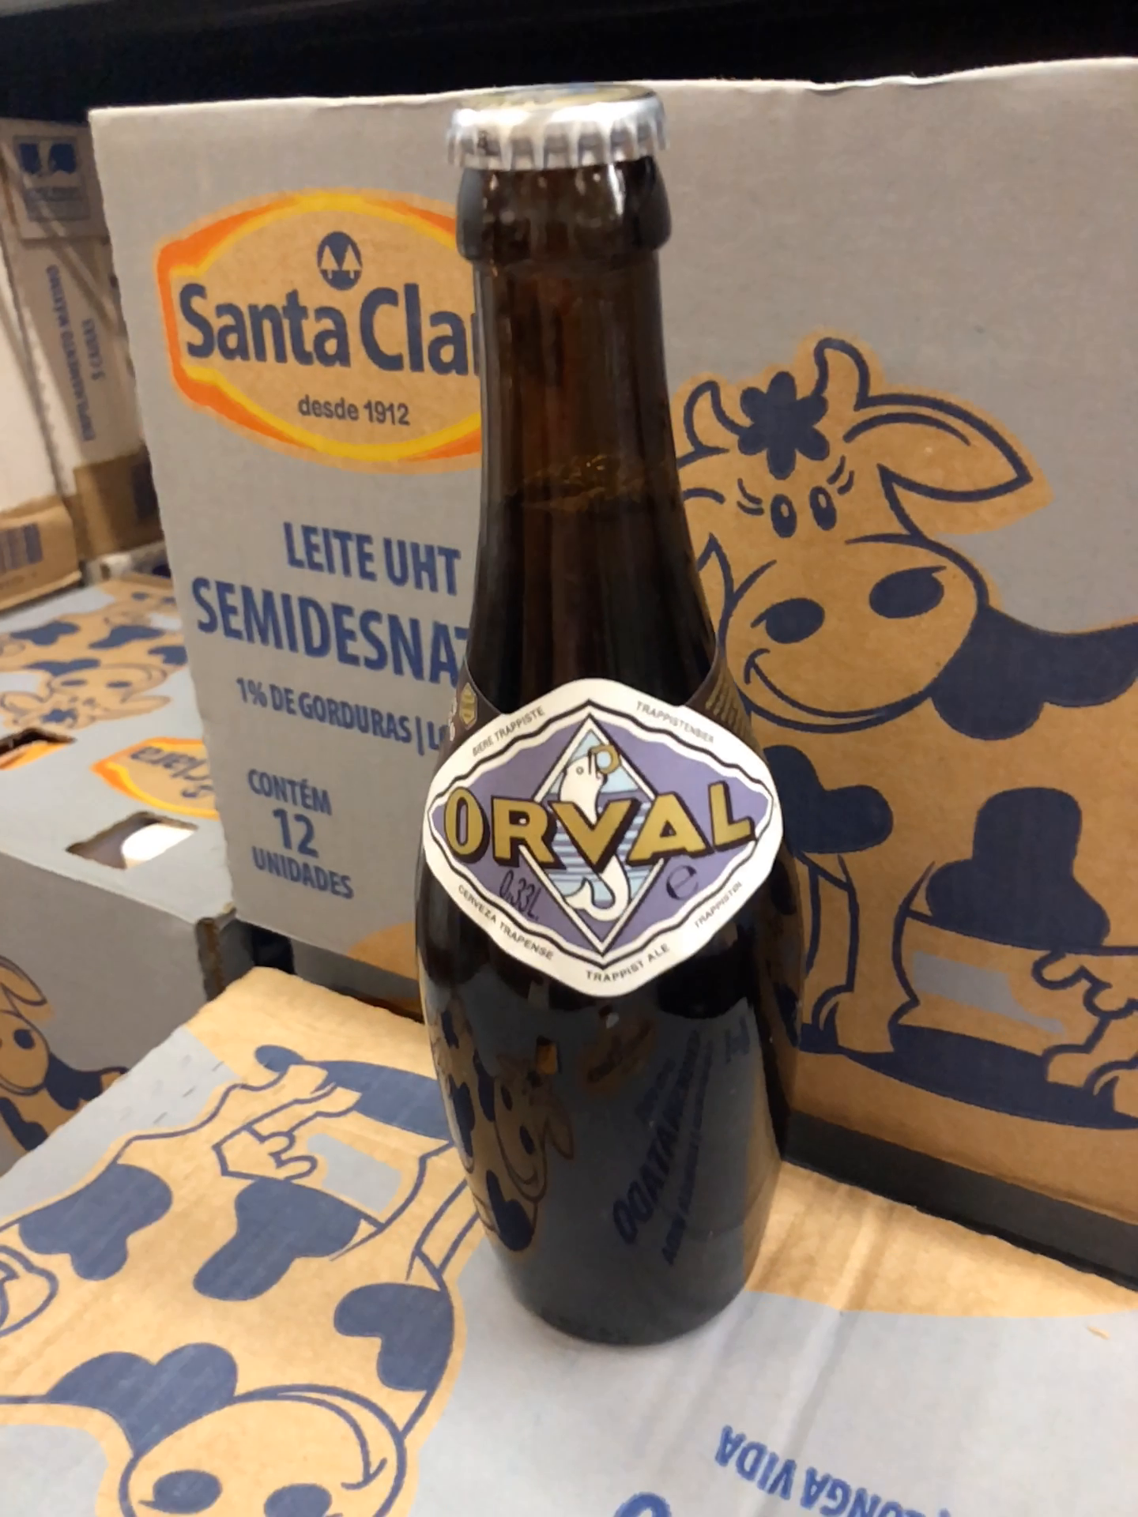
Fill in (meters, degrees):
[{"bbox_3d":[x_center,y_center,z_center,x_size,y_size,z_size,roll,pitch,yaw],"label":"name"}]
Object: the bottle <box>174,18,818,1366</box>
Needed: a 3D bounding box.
[{"bbox_3d":[-0.002,0.002,0.211,0.070,0.209,0.060,-3,26,1],"label":"bottle"}]
